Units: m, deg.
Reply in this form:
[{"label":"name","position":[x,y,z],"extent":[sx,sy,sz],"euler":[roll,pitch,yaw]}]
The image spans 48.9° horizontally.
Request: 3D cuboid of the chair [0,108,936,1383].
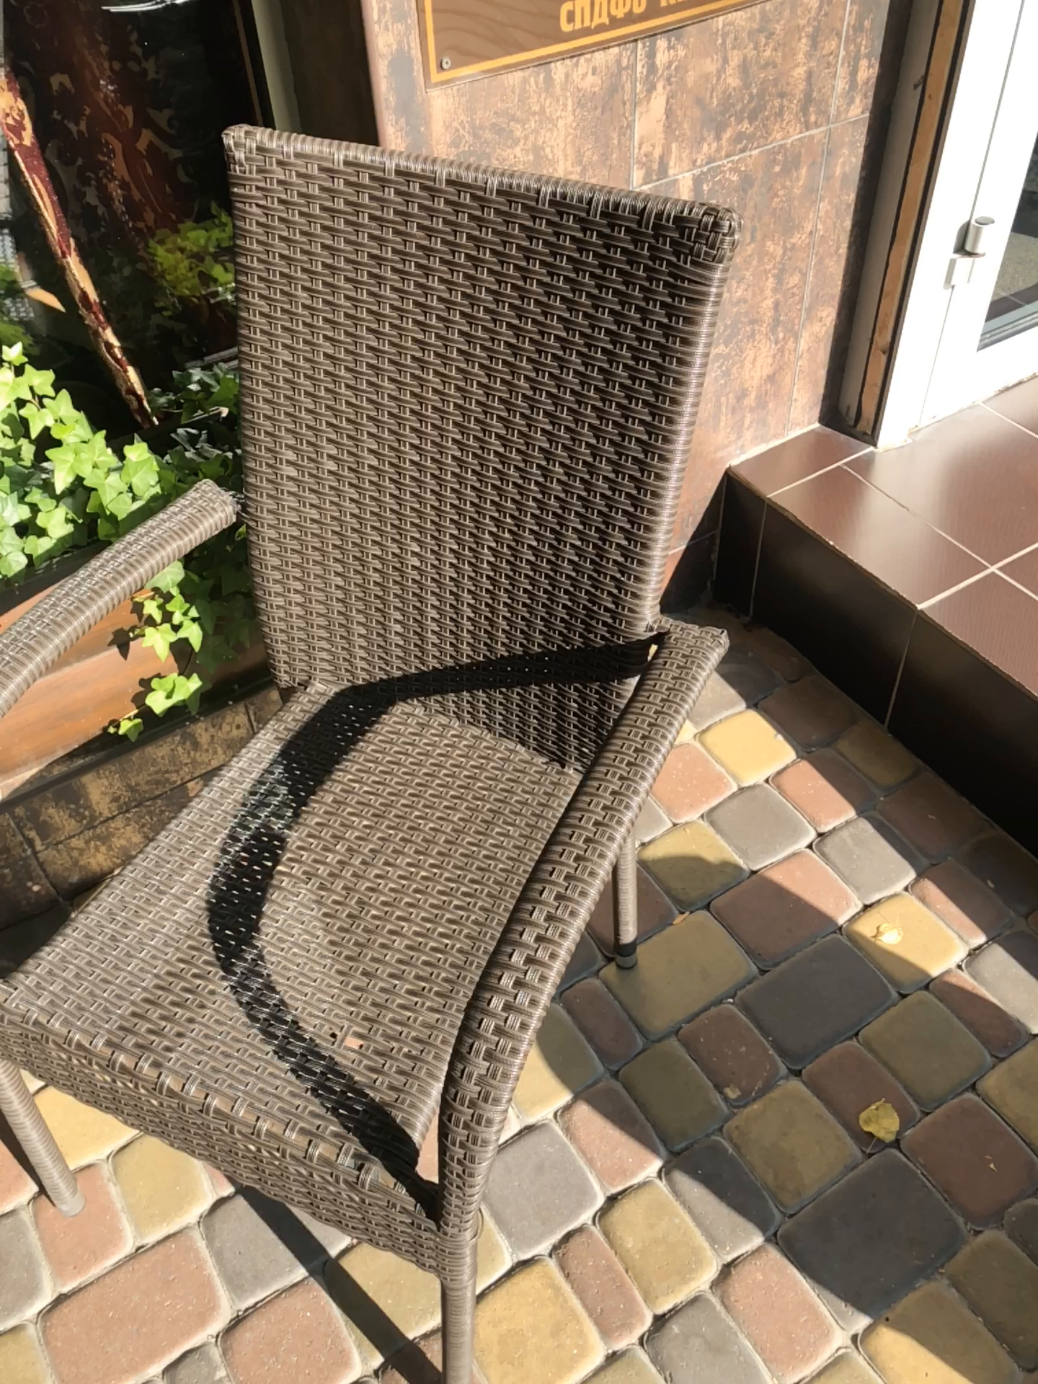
[{"label":"chair","position":[-0.105,0.102,1.056],"extent":[0.611,0.906,0.722],"euler":[18,49,19]}]
